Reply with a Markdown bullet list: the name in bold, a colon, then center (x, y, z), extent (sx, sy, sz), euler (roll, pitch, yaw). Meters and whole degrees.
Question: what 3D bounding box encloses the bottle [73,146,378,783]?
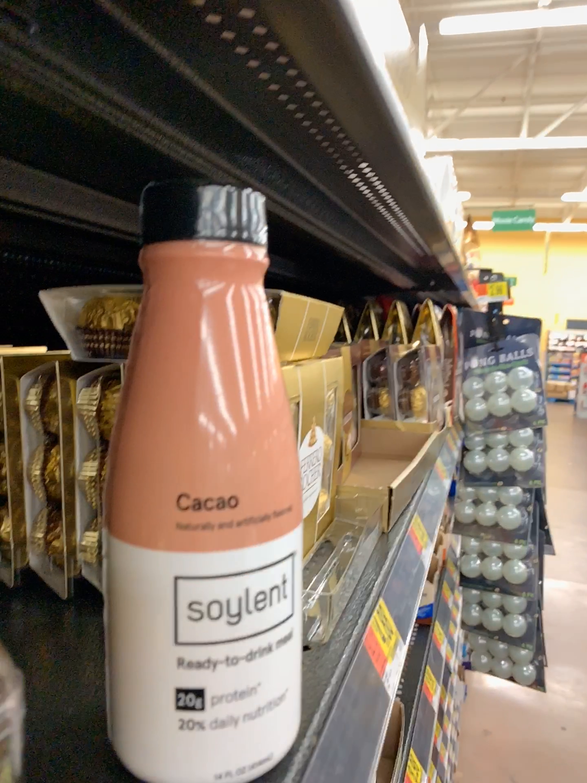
- **bottle**: center (-0.030, 0.029, 0.207), extent (0.080, 0.190, 0.070), euler (0, 6, -24)
